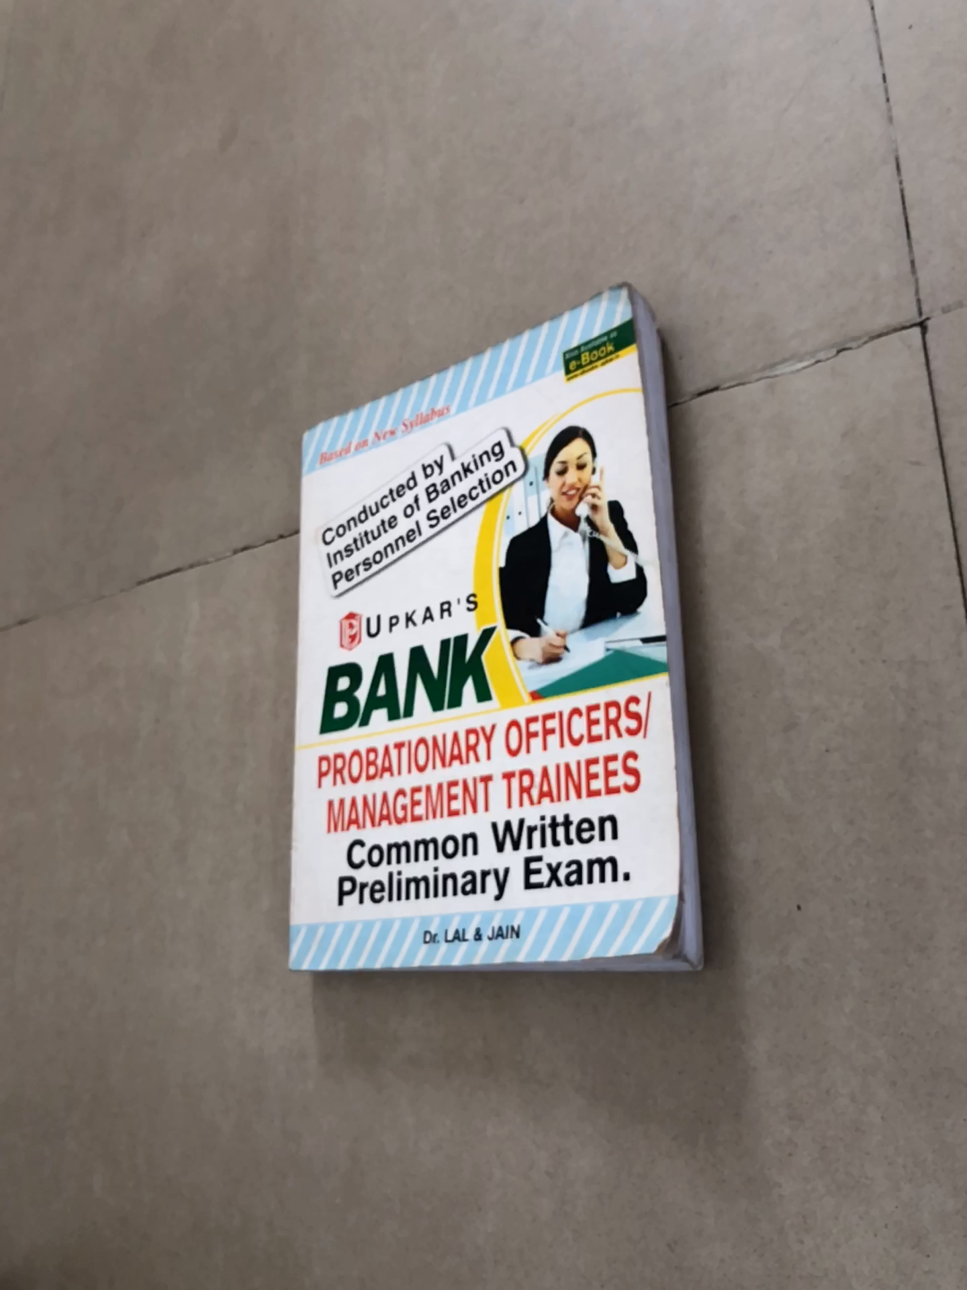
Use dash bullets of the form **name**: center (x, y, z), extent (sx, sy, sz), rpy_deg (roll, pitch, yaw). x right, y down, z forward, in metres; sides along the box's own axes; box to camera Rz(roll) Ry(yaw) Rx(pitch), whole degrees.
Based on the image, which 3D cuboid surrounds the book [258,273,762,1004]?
- **book**: center (-0.002, 0.007, 0.395), extent (0.181, 0.040, 0.230), rpy_deg (-12, 73, 34)
